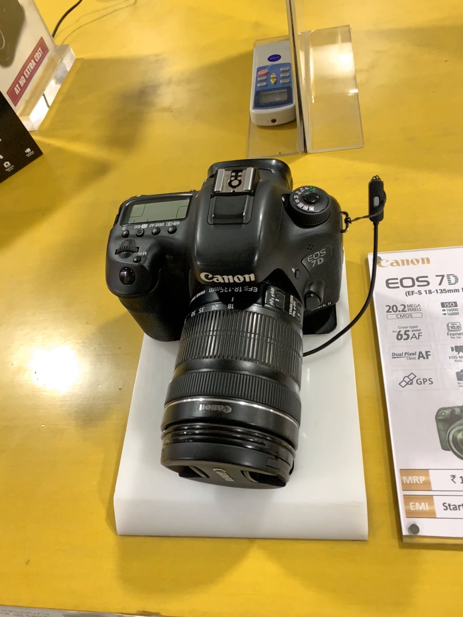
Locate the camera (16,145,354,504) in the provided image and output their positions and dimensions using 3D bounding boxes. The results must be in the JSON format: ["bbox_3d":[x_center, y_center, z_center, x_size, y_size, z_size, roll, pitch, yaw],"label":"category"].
[{"bbox_3d":[-0.004,0.012,0.279,0.140,0.120,0.160,-1,58,13],"label":"camera"}]
